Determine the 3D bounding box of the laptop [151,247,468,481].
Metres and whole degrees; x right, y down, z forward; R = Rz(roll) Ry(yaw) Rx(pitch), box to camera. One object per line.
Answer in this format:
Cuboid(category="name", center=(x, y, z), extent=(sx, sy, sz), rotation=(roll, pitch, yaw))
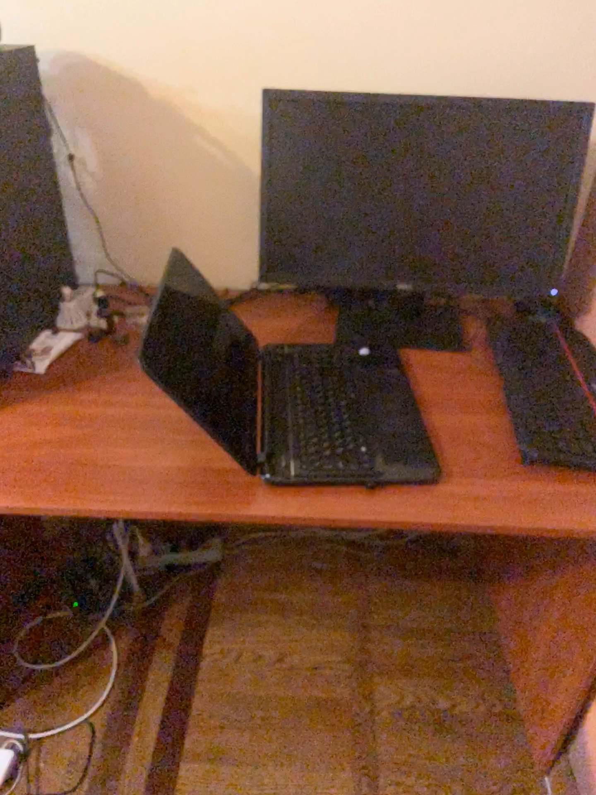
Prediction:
Cuboid(category="laptop", center=(0.003, -0.070, 0.911), extent=(0.368, 0.181, 0.368), rotation=(-1, 33, -1))
